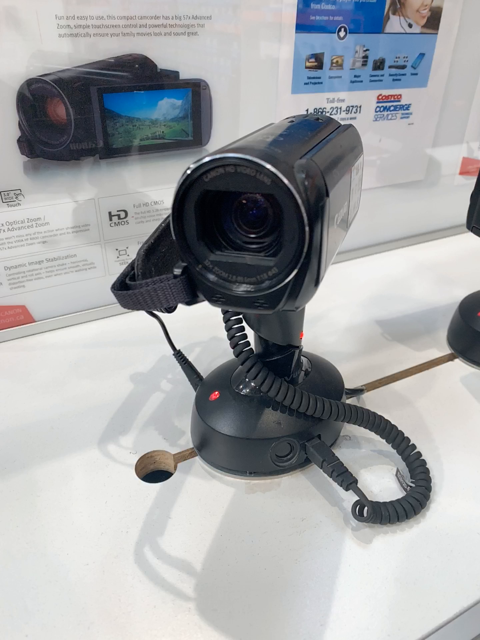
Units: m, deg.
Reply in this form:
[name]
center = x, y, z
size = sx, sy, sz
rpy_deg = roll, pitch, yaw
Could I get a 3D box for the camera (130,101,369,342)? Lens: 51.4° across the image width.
[camera]
center = 0.013, -0.050, 0.201
size = 0.050, 0.050, 0.126
rpy_deg = 12, 34, 17
